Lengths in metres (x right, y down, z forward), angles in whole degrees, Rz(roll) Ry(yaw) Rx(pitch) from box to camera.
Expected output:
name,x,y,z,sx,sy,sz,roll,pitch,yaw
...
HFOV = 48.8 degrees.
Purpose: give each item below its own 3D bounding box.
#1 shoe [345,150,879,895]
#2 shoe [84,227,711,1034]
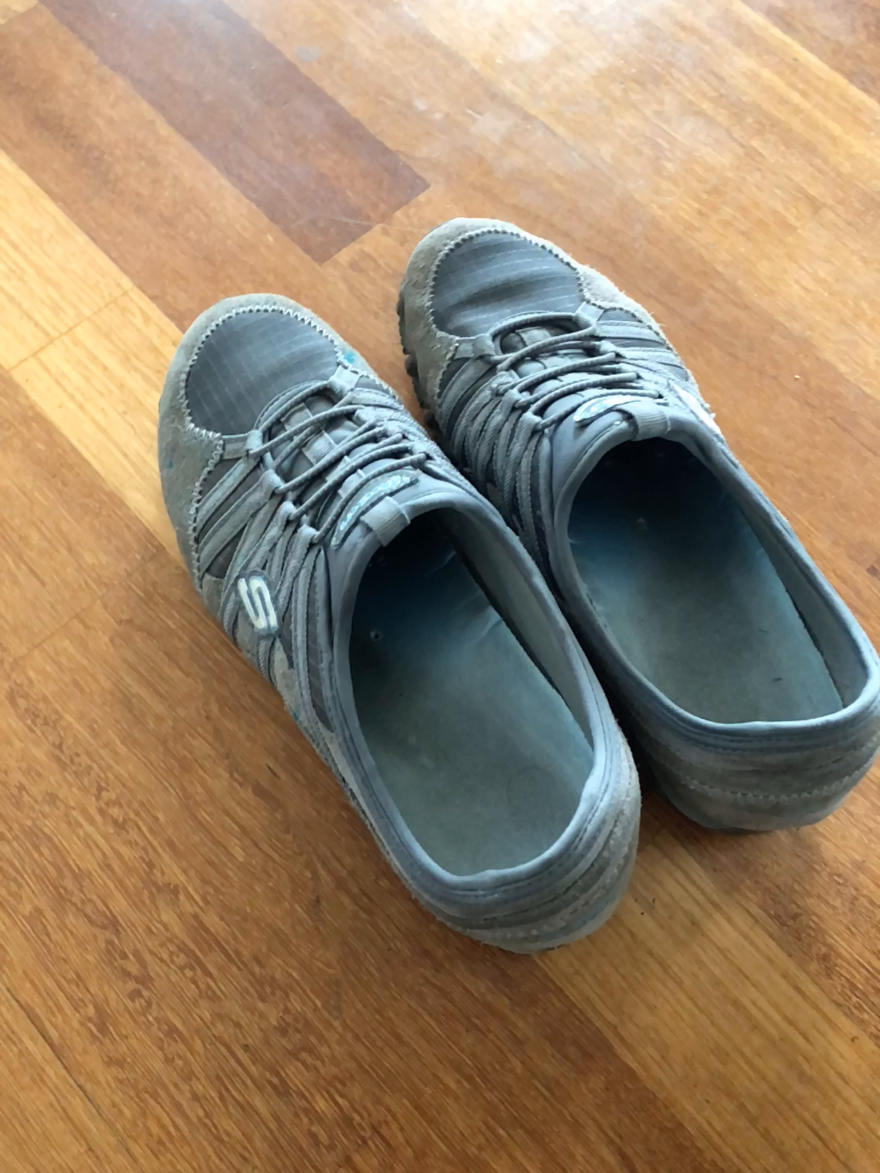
name,x,y,z,sx,sy,sz,roll,pitch,yaw
shoe,0.062,-0.023,0.372,0.093,0.106,0.250,-25,73,-11
shoe,-0.025,0.013,0.359,0.096,0.106,0.253,-25,73,-11
